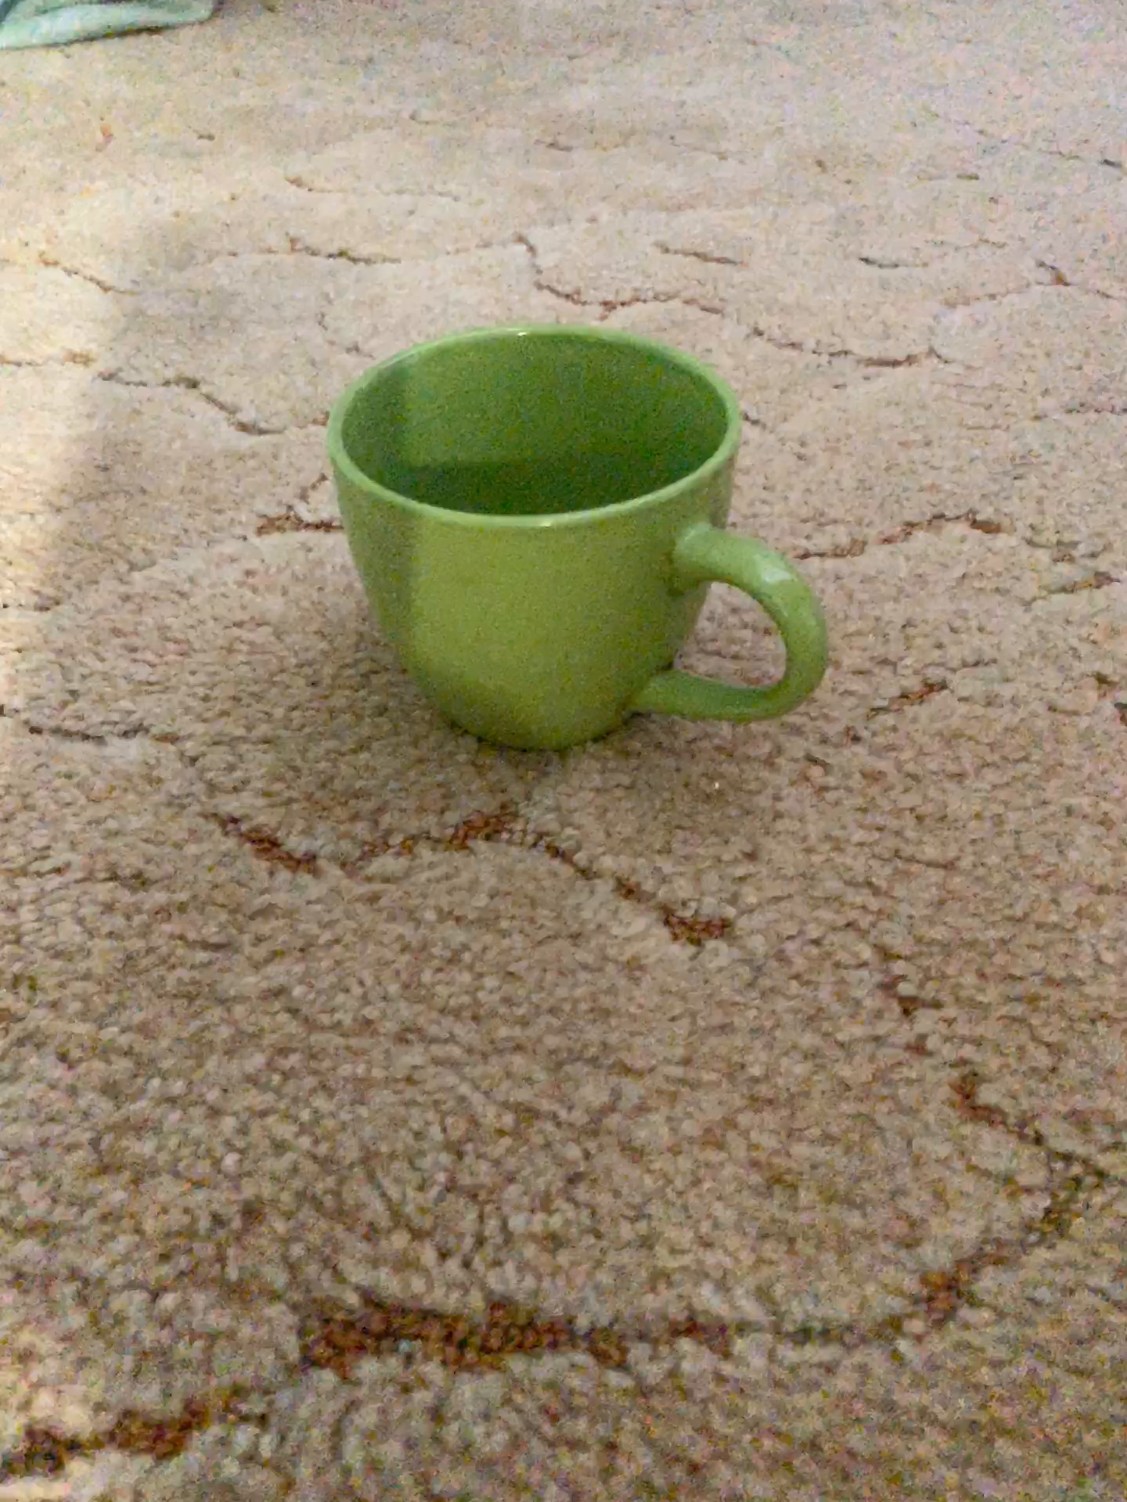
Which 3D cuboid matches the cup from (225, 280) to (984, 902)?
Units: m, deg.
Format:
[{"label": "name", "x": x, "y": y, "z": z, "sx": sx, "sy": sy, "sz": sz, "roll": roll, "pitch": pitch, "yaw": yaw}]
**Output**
[{"label": "cup", "x": 0.005, "y": -0.044, "z": 0.248, "sx": 0.120, "sy": 0.059, "sz": 0.090, "roll": 33, "pitch": 49, "yaw": 31}]
